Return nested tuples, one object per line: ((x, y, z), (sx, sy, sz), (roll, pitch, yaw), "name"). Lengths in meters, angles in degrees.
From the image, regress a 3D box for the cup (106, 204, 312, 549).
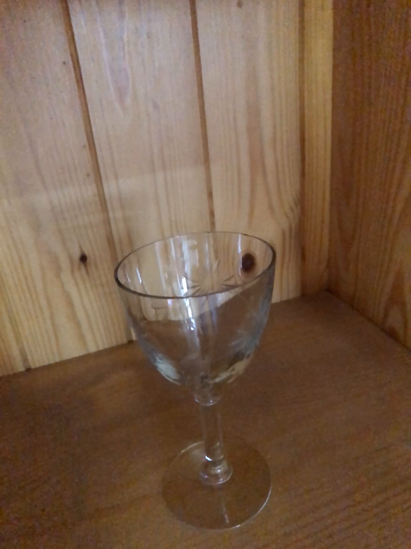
((0.003, 0.049, 0.214), (0.070, 0.139, 0.070), (-5, 25, 2), "cup")
